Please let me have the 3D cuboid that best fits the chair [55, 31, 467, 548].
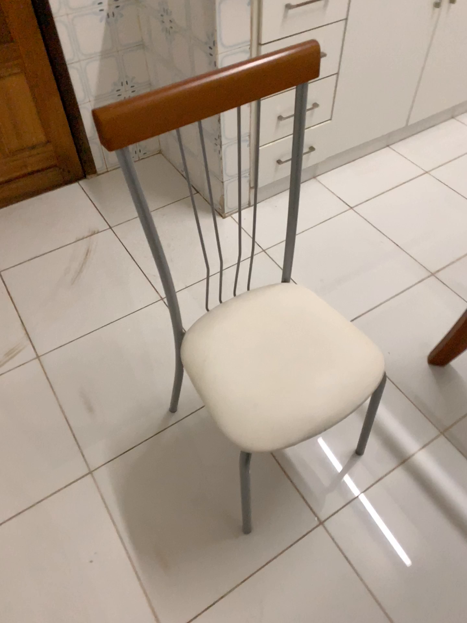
[{"bbox_3d":[0.074,0.027,1.007,0.481,0.886,0.512,-27,56,-19],"label":"chair"}]
